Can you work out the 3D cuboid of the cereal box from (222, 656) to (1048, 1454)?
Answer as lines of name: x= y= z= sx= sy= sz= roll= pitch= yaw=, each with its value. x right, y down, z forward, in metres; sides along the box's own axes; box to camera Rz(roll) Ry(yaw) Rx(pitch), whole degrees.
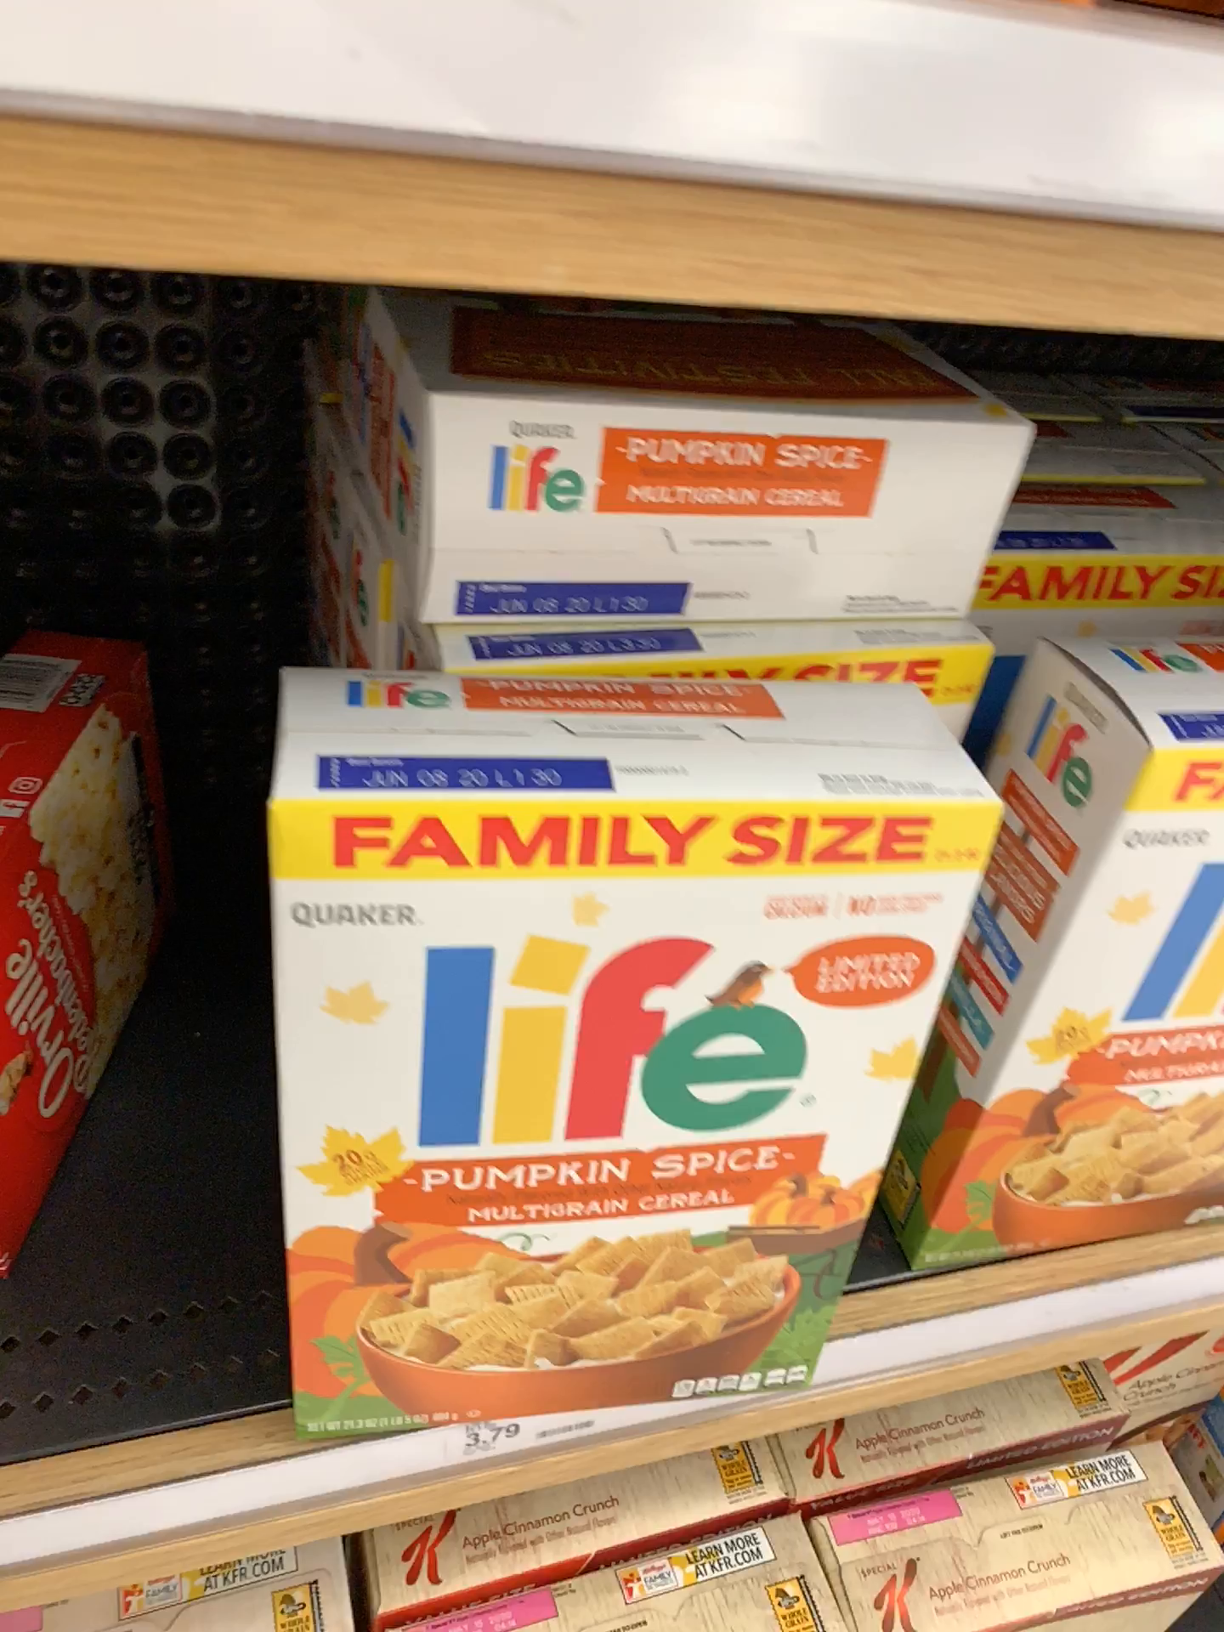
cereal box: x=-0.009 y=0.082 z=0.392 sx=0.200 sy=0.249 sz=0.070 roll=1 pitch=33 yaw=-12
